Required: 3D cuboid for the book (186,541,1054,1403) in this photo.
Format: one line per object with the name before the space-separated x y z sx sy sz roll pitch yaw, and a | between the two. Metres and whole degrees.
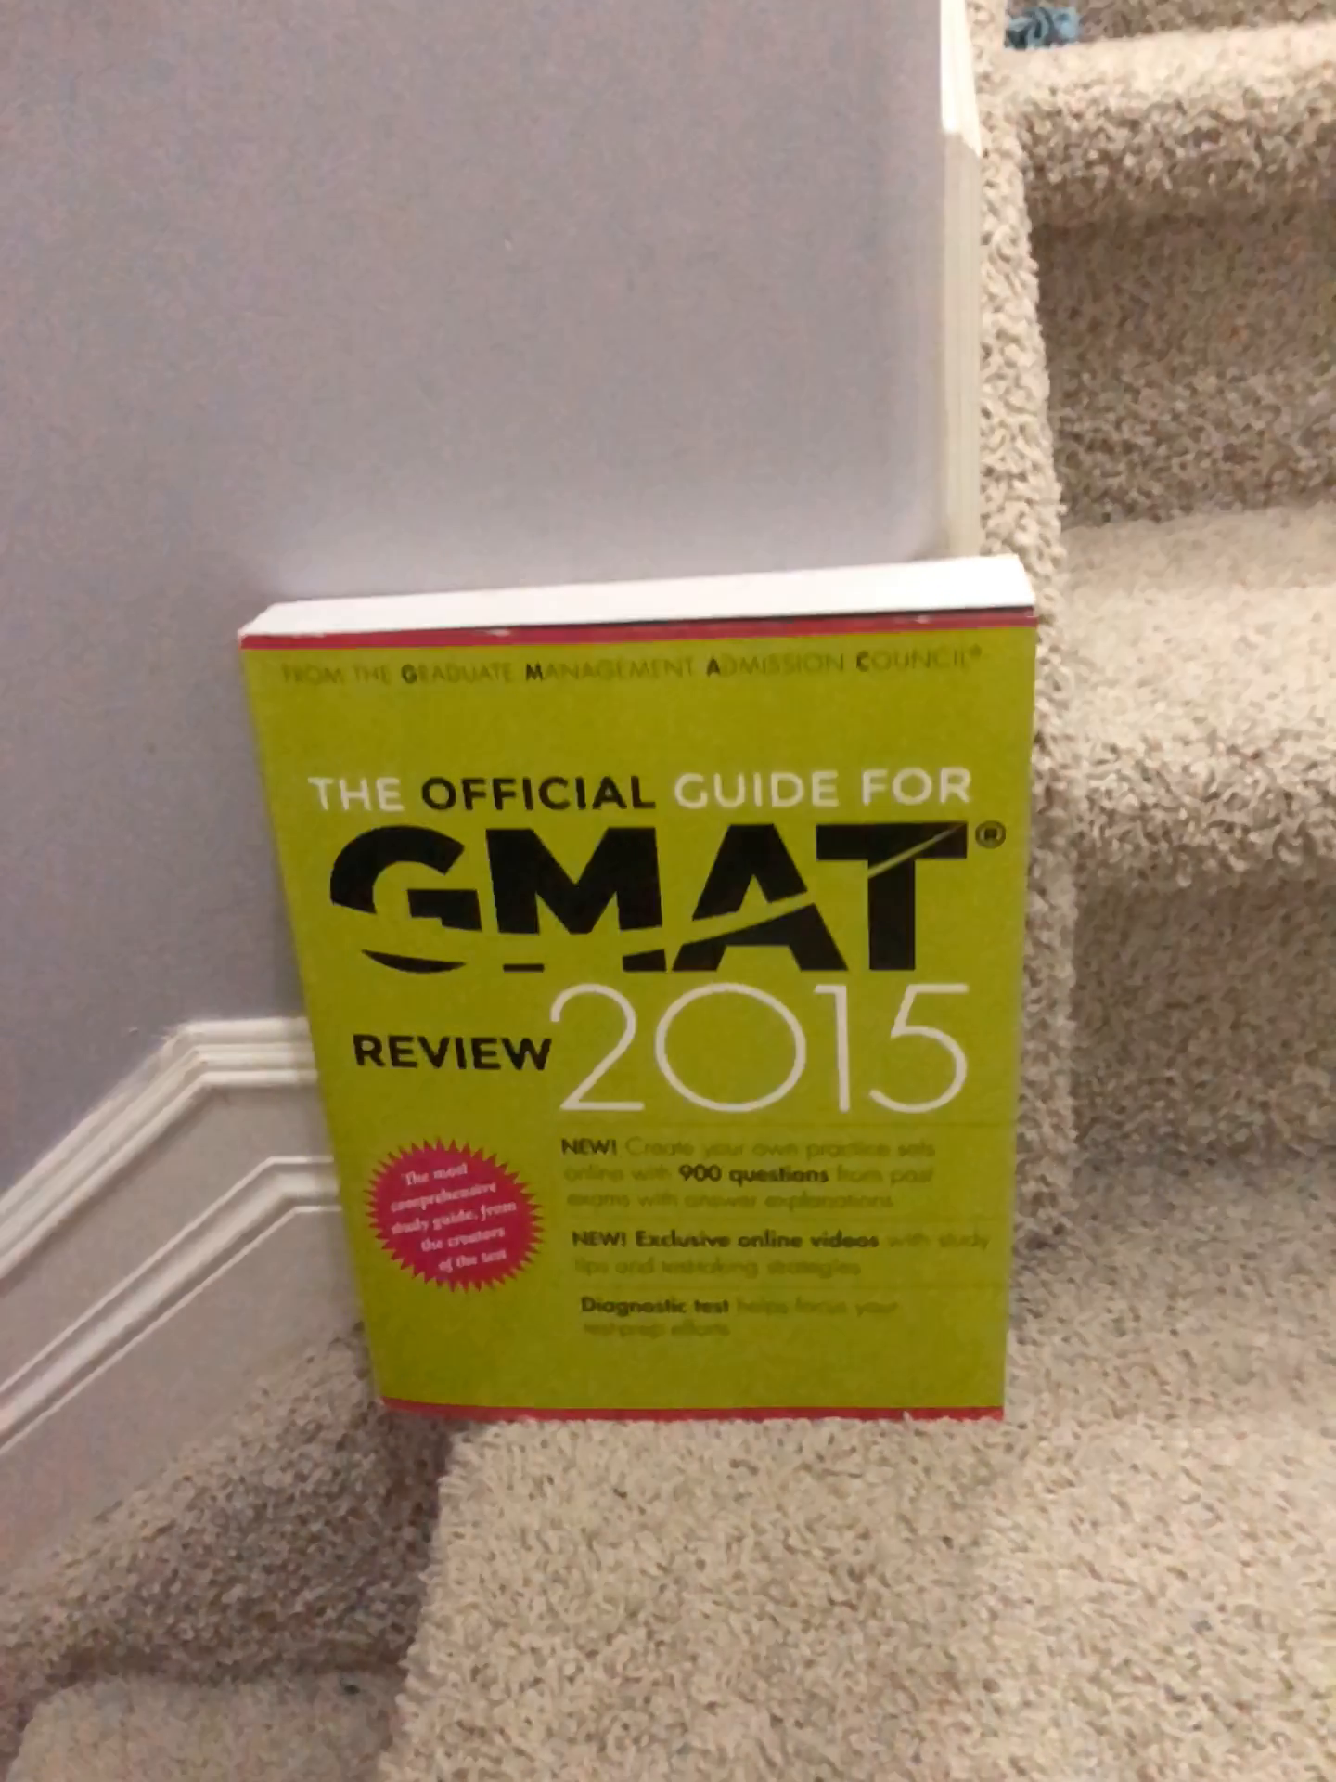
book | -0.003 0.041 0.470 0.236 0.277 0.040 -2 24 7
